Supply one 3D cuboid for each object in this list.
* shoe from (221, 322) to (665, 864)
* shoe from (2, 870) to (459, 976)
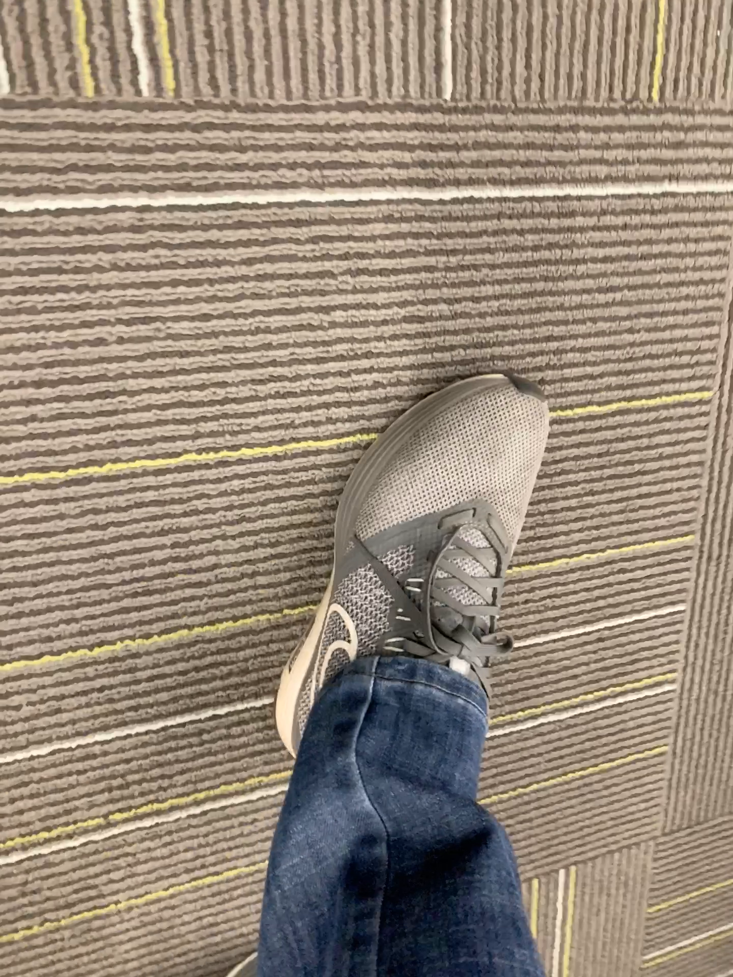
[{"bbox_3d":[0.038,0.071,0.480,0.132,0.093,0.313,22,100,-25],"label":"shoe"},{"bbox_3d":[-0.095,0.441,0.576,0.299,0.093,0.128,-21,114,-12],"label":"shoe"}]
